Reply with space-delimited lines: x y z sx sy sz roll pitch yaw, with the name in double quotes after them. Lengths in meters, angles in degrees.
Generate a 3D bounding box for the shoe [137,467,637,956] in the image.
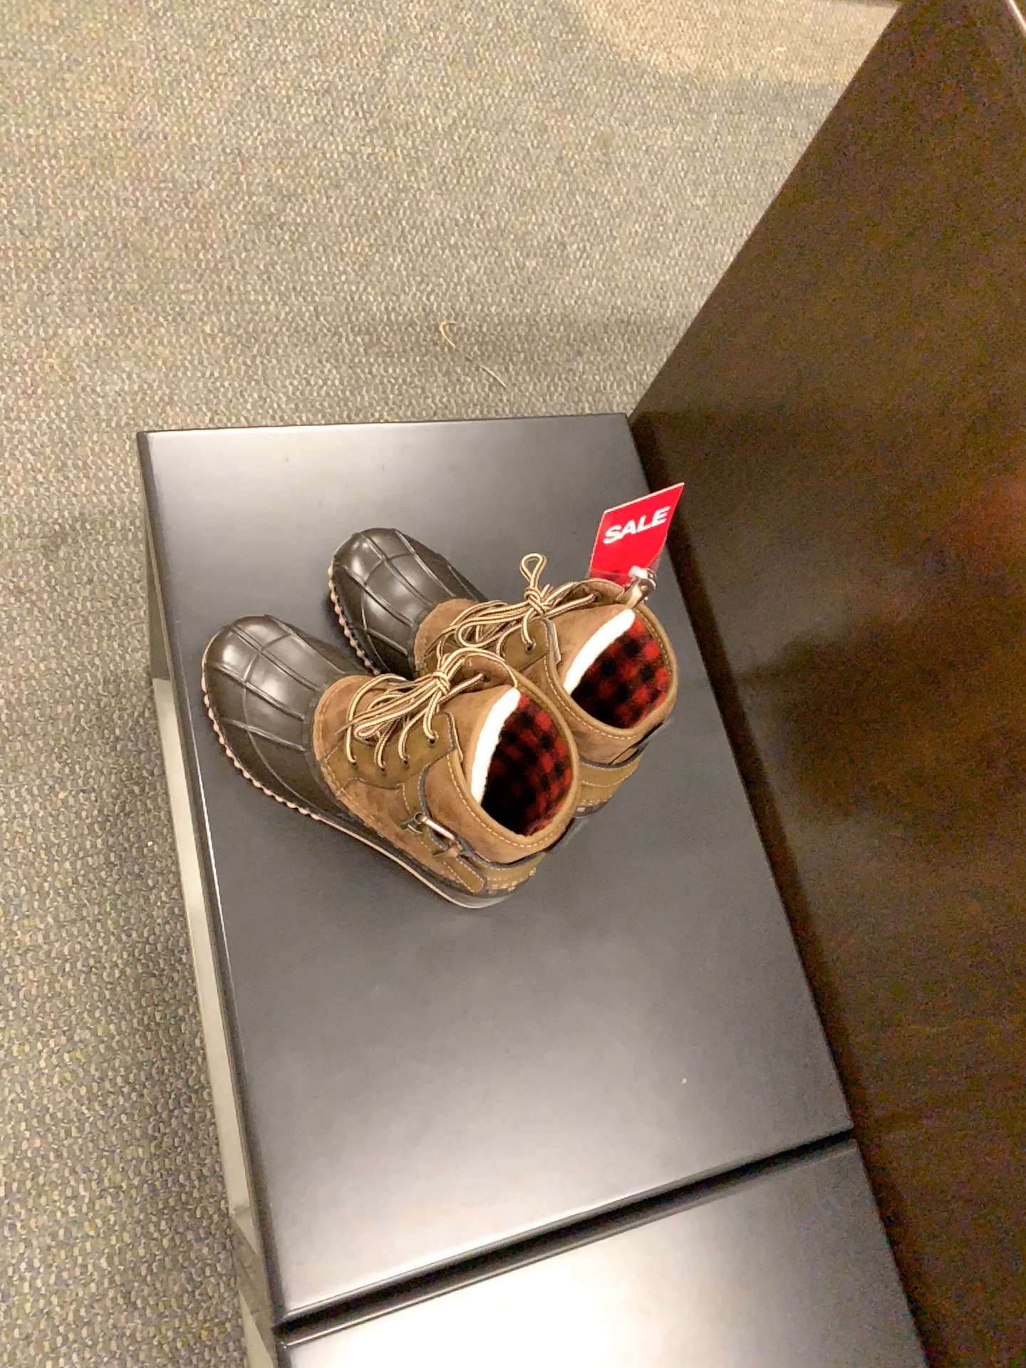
-0.079 0.025 0.585 0.240 0.150 0.100 39 62 0 "shoe"

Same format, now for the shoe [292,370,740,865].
-0.010 -0.032 0.625 0.100 0.150 0.240 -36 83 -27 "shoe"
